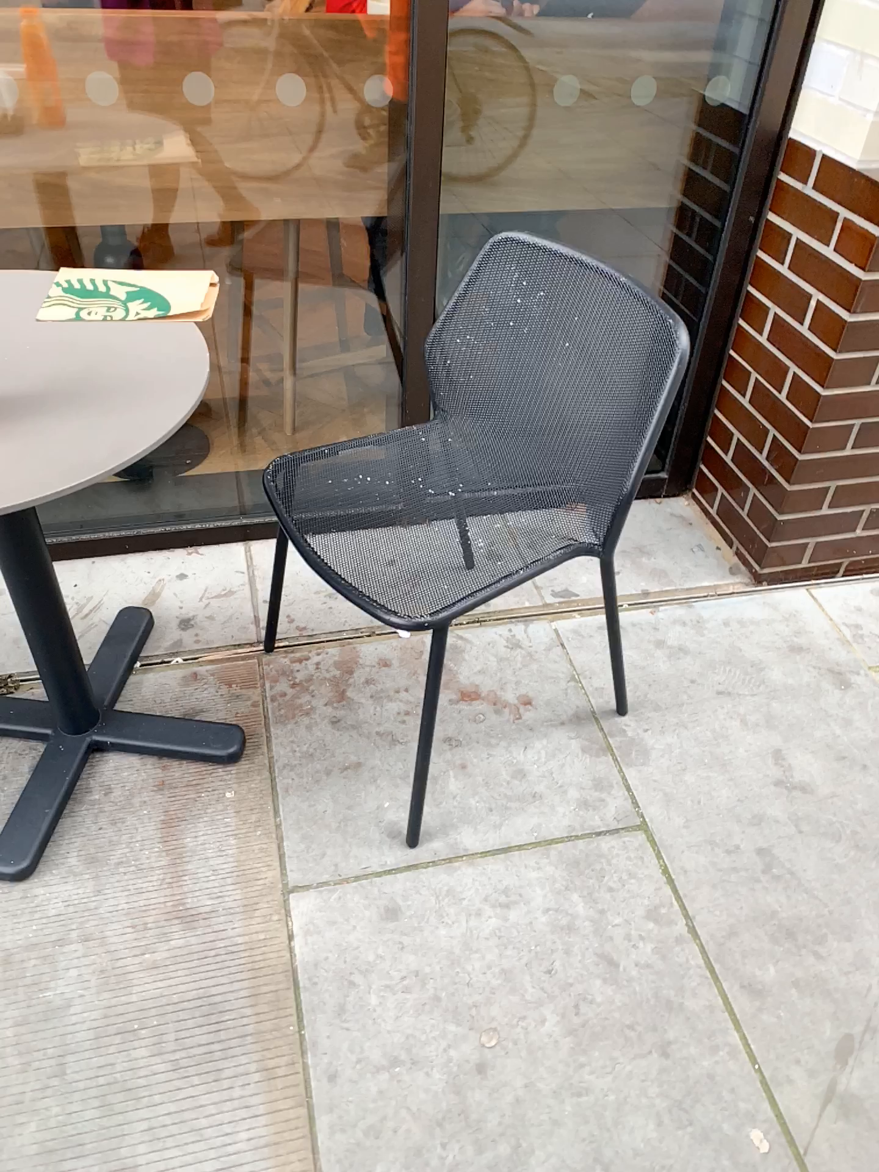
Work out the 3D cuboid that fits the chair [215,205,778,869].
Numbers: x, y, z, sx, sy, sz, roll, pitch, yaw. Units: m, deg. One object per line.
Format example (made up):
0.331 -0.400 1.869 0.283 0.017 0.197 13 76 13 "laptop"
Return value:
0.041 -0.103 1.499 0.542 0.797 0.594 -22 46 -28 "chair"
